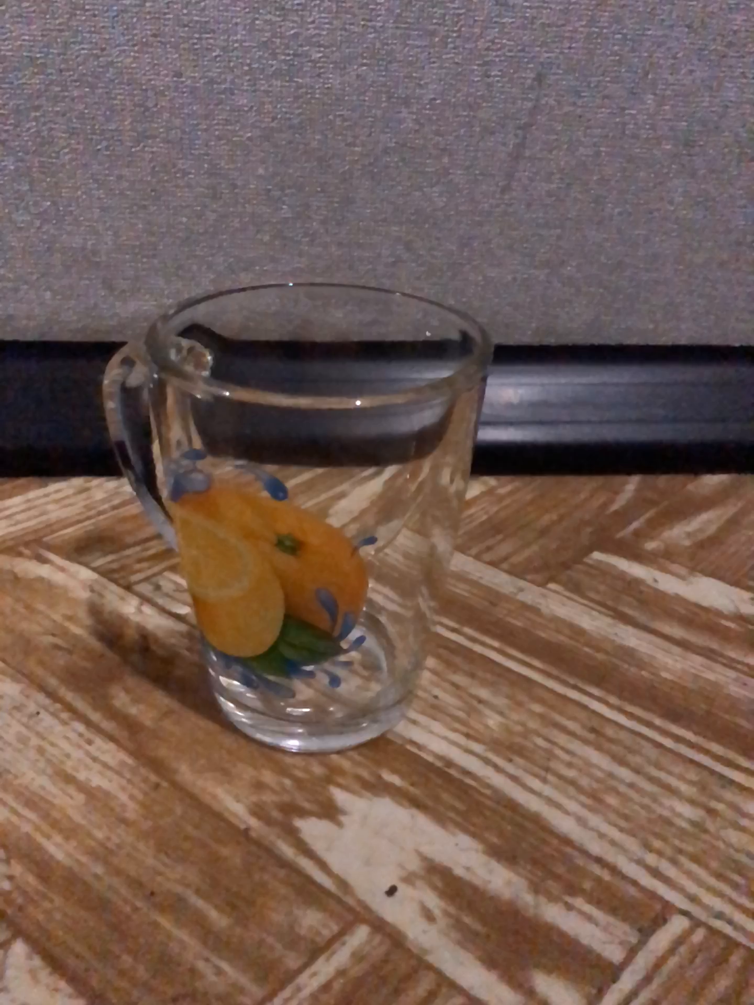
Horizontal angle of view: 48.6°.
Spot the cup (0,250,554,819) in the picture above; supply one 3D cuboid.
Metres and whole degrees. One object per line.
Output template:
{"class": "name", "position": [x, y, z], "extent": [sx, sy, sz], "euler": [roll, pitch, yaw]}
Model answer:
{"class": "cup", "position": [-0.028, -0.002, 0.230], "extent": [0.116, 0.098, 0.085], "euler": [19, 35, 26]}
